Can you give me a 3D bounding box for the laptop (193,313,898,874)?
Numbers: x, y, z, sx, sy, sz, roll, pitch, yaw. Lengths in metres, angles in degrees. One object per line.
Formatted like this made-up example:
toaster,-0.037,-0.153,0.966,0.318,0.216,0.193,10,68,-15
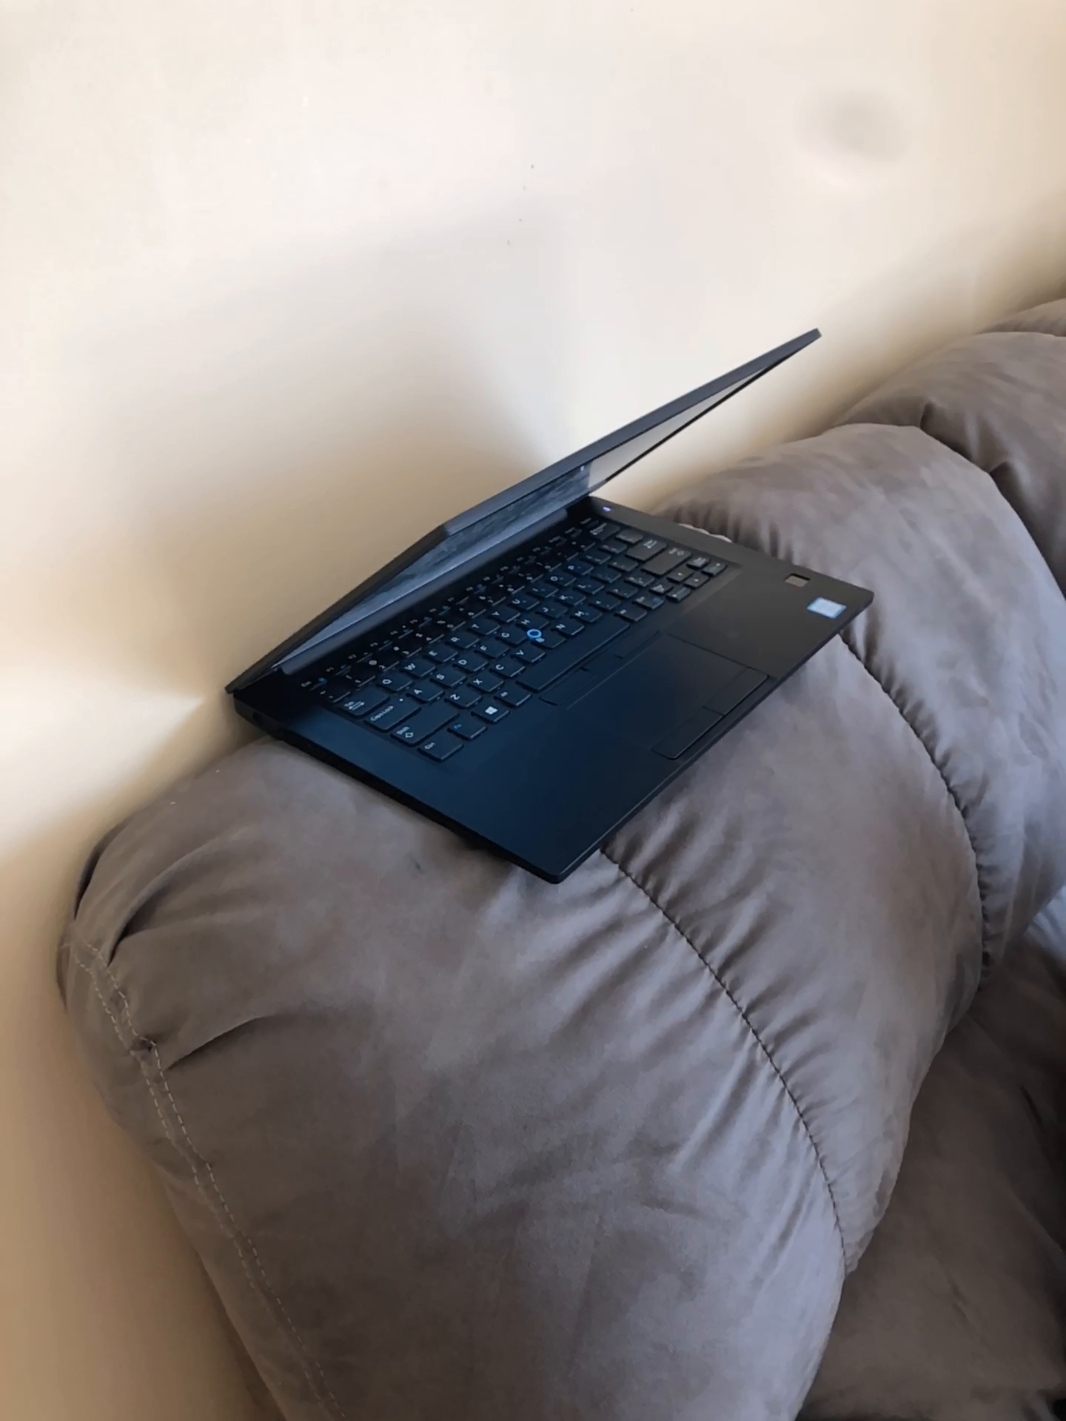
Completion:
laptop,0.026,-0.094,0.639,0.213,0.128,0.321,23,40,31
